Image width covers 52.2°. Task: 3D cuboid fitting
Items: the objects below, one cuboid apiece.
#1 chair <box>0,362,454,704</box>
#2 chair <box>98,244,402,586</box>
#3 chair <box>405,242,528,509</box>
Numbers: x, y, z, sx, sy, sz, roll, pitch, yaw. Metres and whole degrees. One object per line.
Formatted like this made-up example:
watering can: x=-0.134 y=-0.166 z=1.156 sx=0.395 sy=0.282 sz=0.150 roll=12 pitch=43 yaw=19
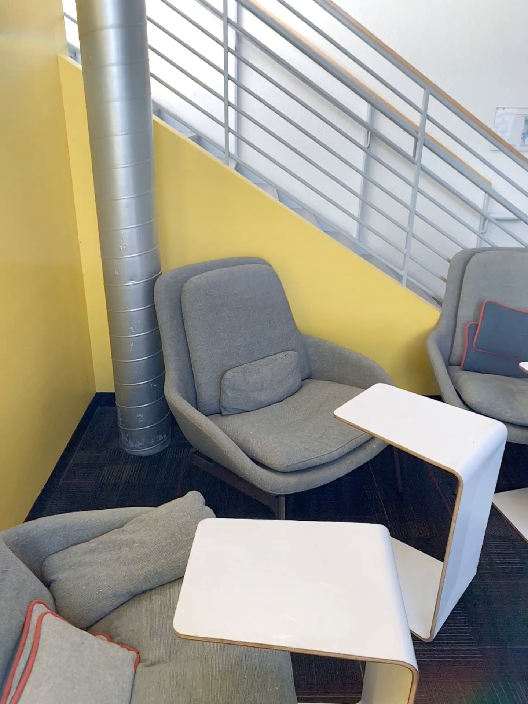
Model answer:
chair: x=-0.324 y=0.643 z=0.938 sx=0.870 sy=0.925 sz=0.804 roll=-5 pitch=24 yaw=-8
chair: x=-0.048 y=0.154 z=2.357 sx=0.891 sy=1.015 sz=0.843 roll=-20 pitch=28 yaw=-39
chair: x=1.202 y=0.034 z=2.589 sx=0.871 sy=0.946 sz=0.884 roll=4 pitch=20 yaw=9
